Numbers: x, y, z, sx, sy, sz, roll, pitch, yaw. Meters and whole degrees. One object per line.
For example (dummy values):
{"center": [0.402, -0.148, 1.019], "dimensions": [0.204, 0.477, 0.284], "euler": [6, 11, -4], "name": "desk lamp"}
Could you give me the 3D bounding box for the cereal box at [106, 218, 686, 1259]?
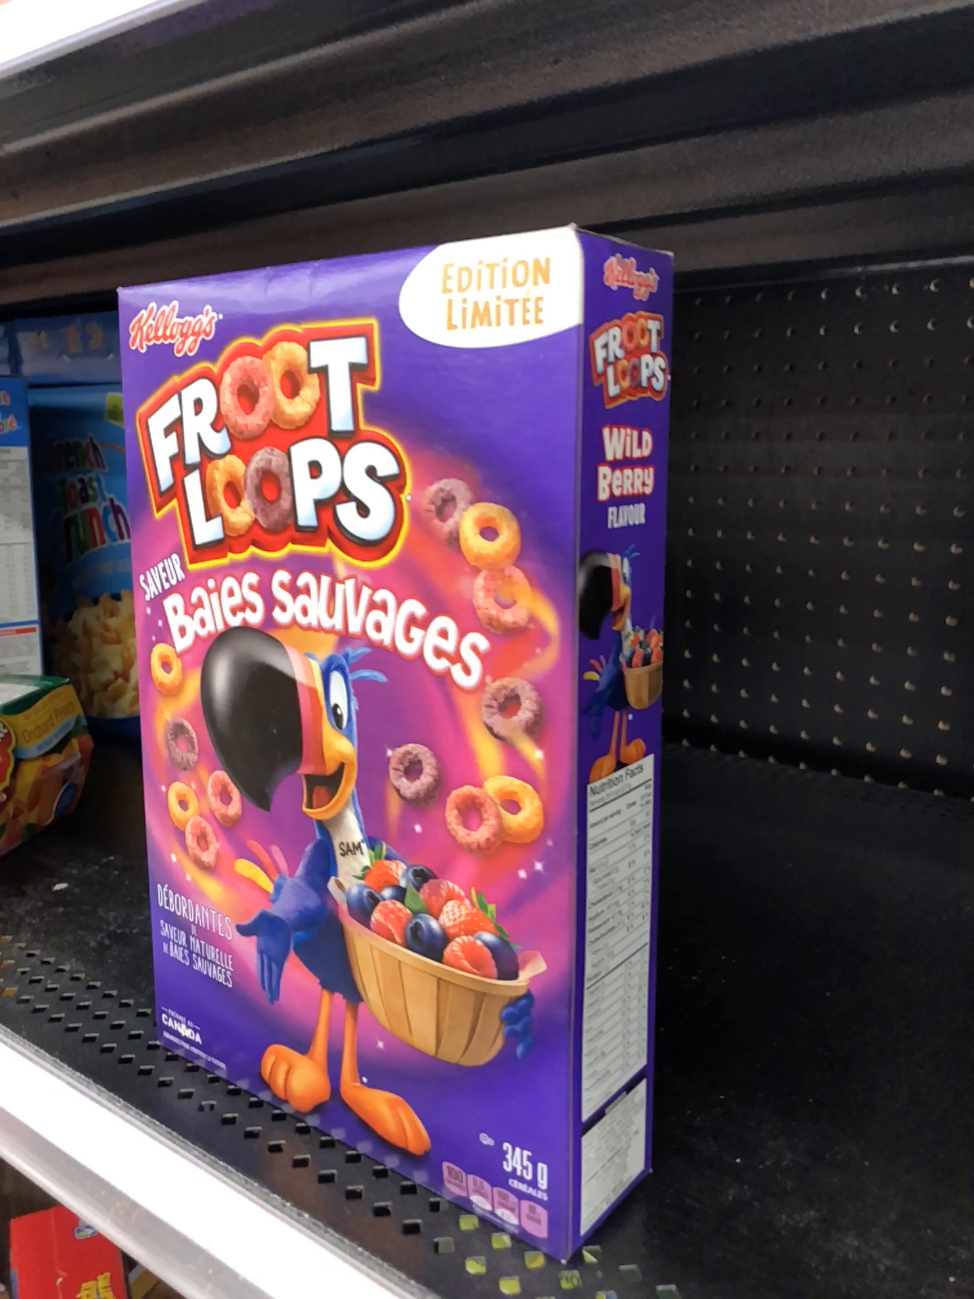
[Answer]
{"center": [-0.041, 0.020, 0.374], "dimensions": [0.210, 0.289, 0.050], "euler": [8, 13, 38], "name": "cereal box"}
